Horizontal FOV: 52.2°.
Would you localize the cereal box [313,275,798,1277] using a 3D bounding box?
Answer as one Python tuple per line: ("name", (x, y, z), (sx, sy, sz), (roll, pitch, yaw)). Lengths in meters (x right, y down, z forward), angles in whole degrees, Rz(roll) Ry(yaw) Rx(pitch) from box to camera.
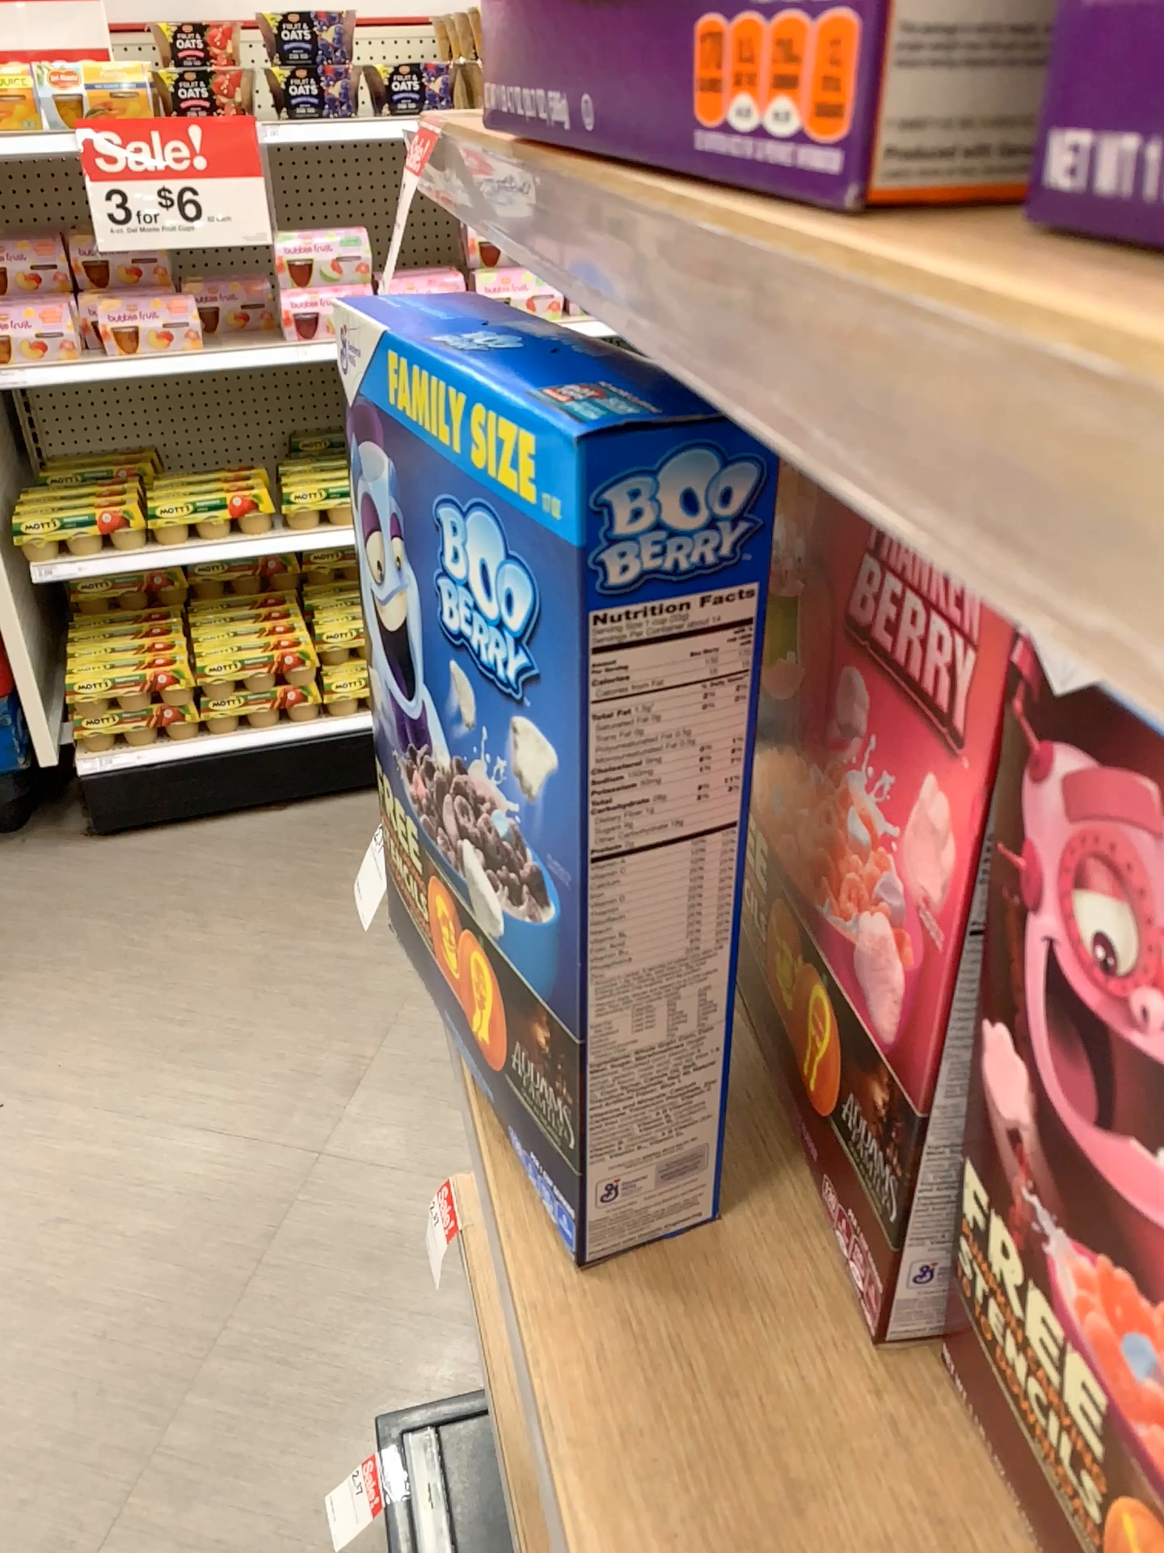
("cereal box", (-0.027, -0.012, 0.463), (0.060, 0.308, 0.241), (-13, 33, -23))
